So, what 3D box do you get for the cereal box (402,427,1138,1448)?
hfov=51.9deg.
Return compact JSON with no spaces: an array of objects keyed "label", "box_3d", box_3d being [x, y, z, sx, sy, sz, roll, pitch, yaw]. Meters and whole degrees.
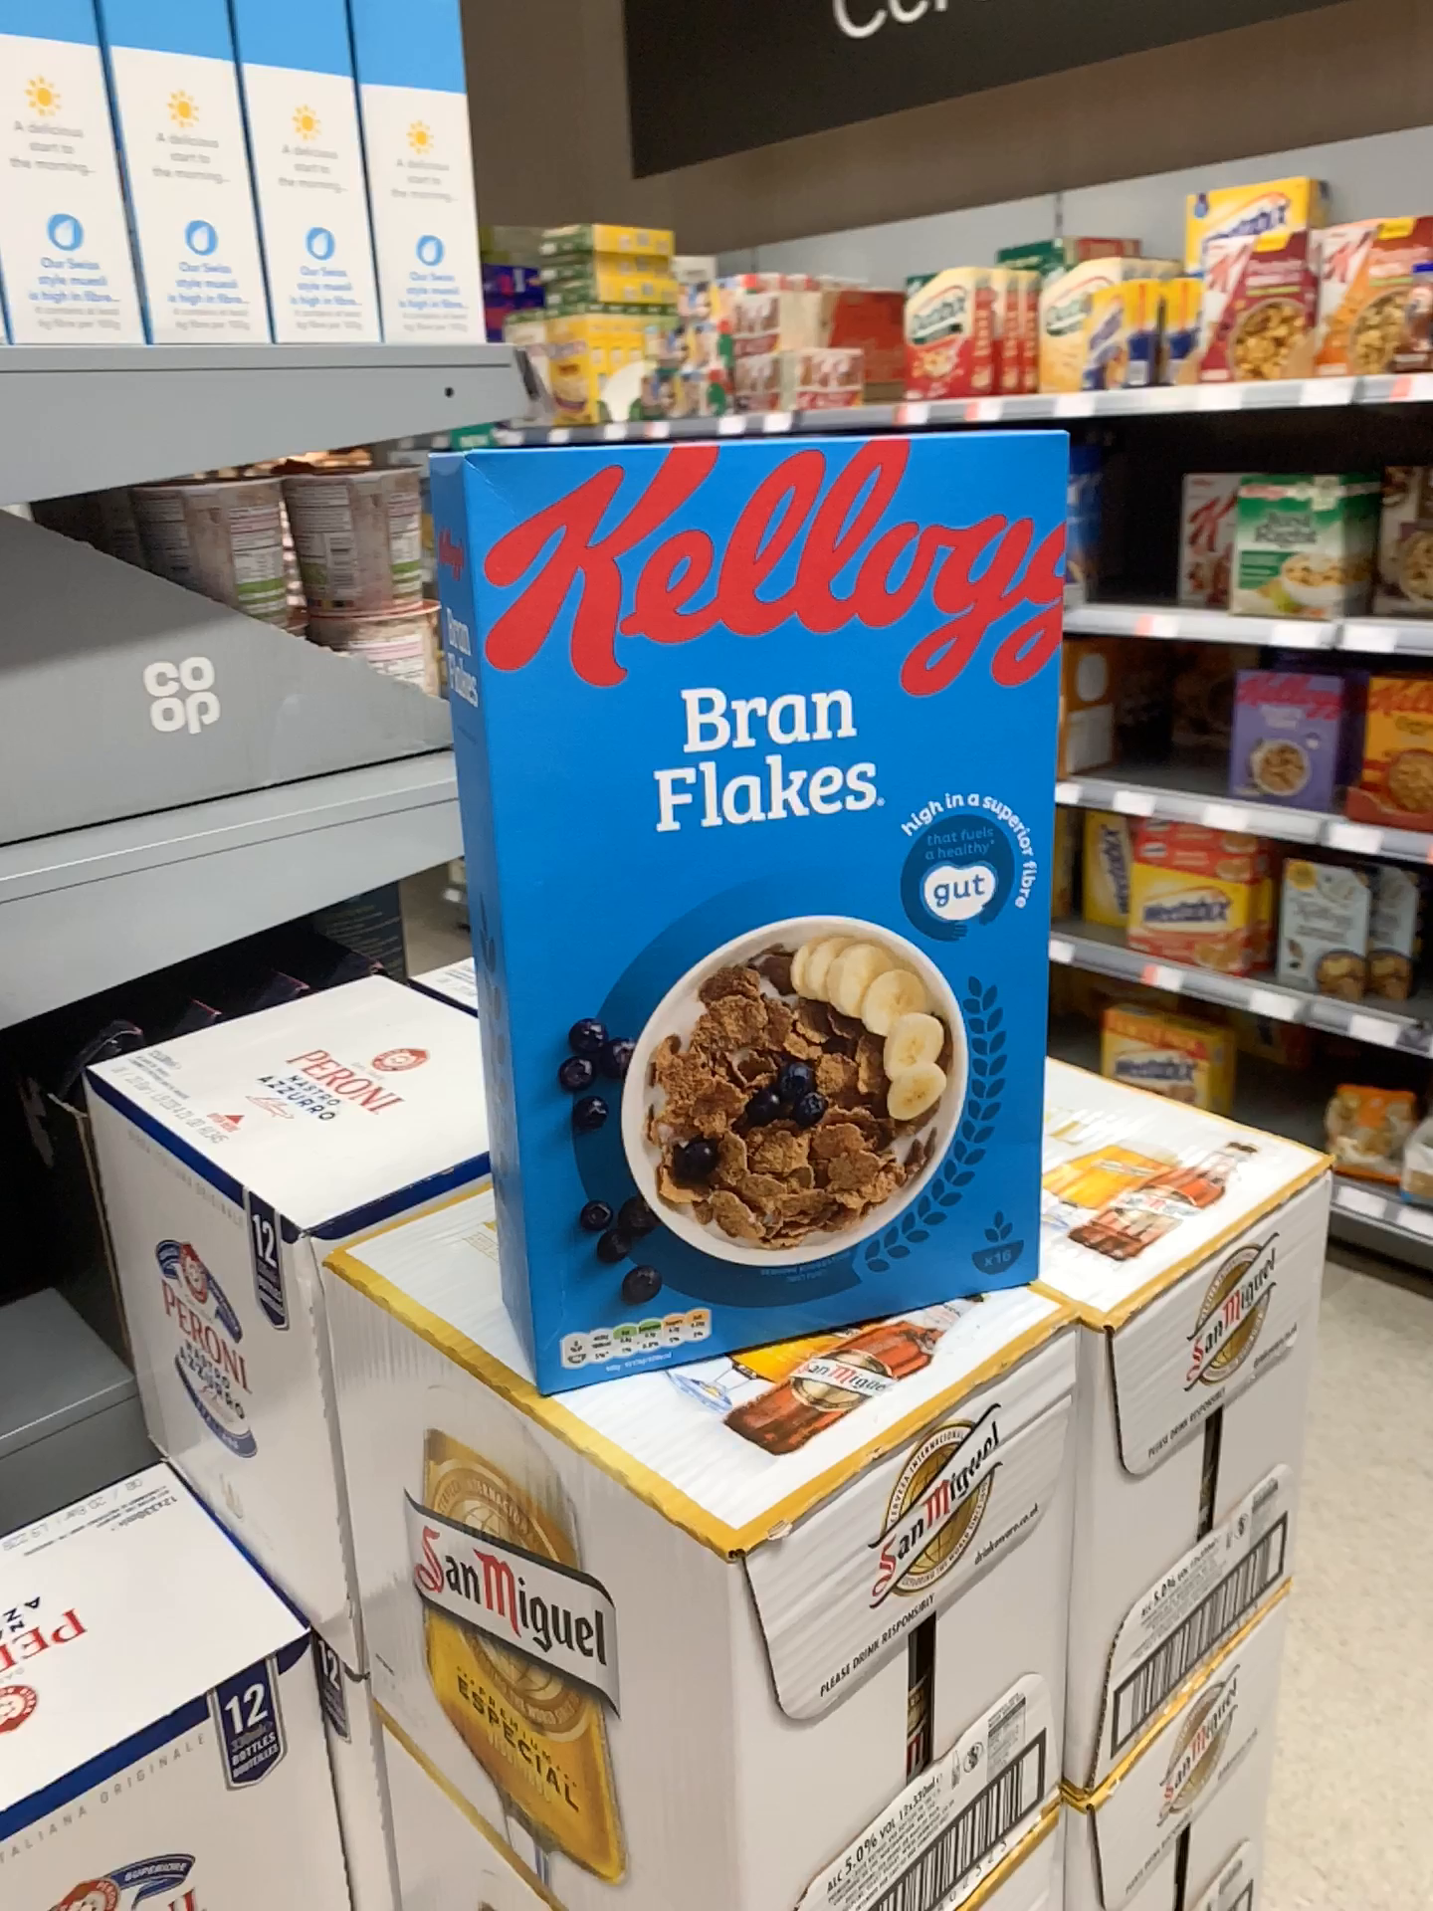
[{"label":"cereal box","box_3d":[0.019,-0.012,0.467,0.200,0.288,0.070,-8,18,-18]}]
